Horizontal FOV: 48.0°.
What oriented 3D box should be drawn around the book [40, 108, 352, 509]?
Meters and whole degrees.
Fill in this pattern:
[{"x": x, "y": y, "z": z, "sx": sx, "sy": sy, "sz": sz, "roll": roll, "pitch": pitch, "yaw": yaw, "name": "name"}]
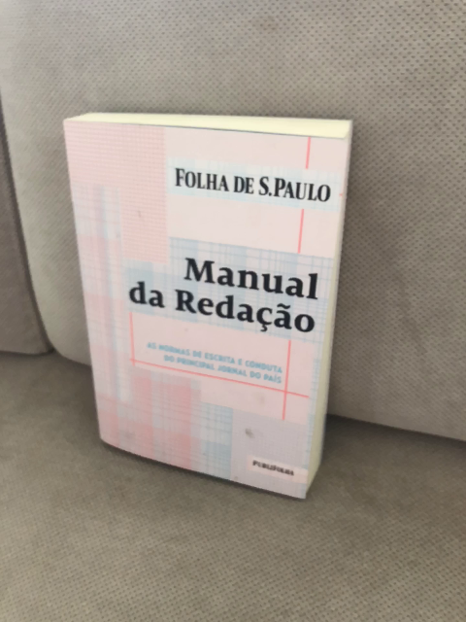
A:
[{"x": -0.025, "y": -0.001, "z": 0.328, "sx": 0.166, "sy": 0.228, "sz": 0.040, "roll": 10, "pitch": 27, "yaw": 20, "name": "book"}]
